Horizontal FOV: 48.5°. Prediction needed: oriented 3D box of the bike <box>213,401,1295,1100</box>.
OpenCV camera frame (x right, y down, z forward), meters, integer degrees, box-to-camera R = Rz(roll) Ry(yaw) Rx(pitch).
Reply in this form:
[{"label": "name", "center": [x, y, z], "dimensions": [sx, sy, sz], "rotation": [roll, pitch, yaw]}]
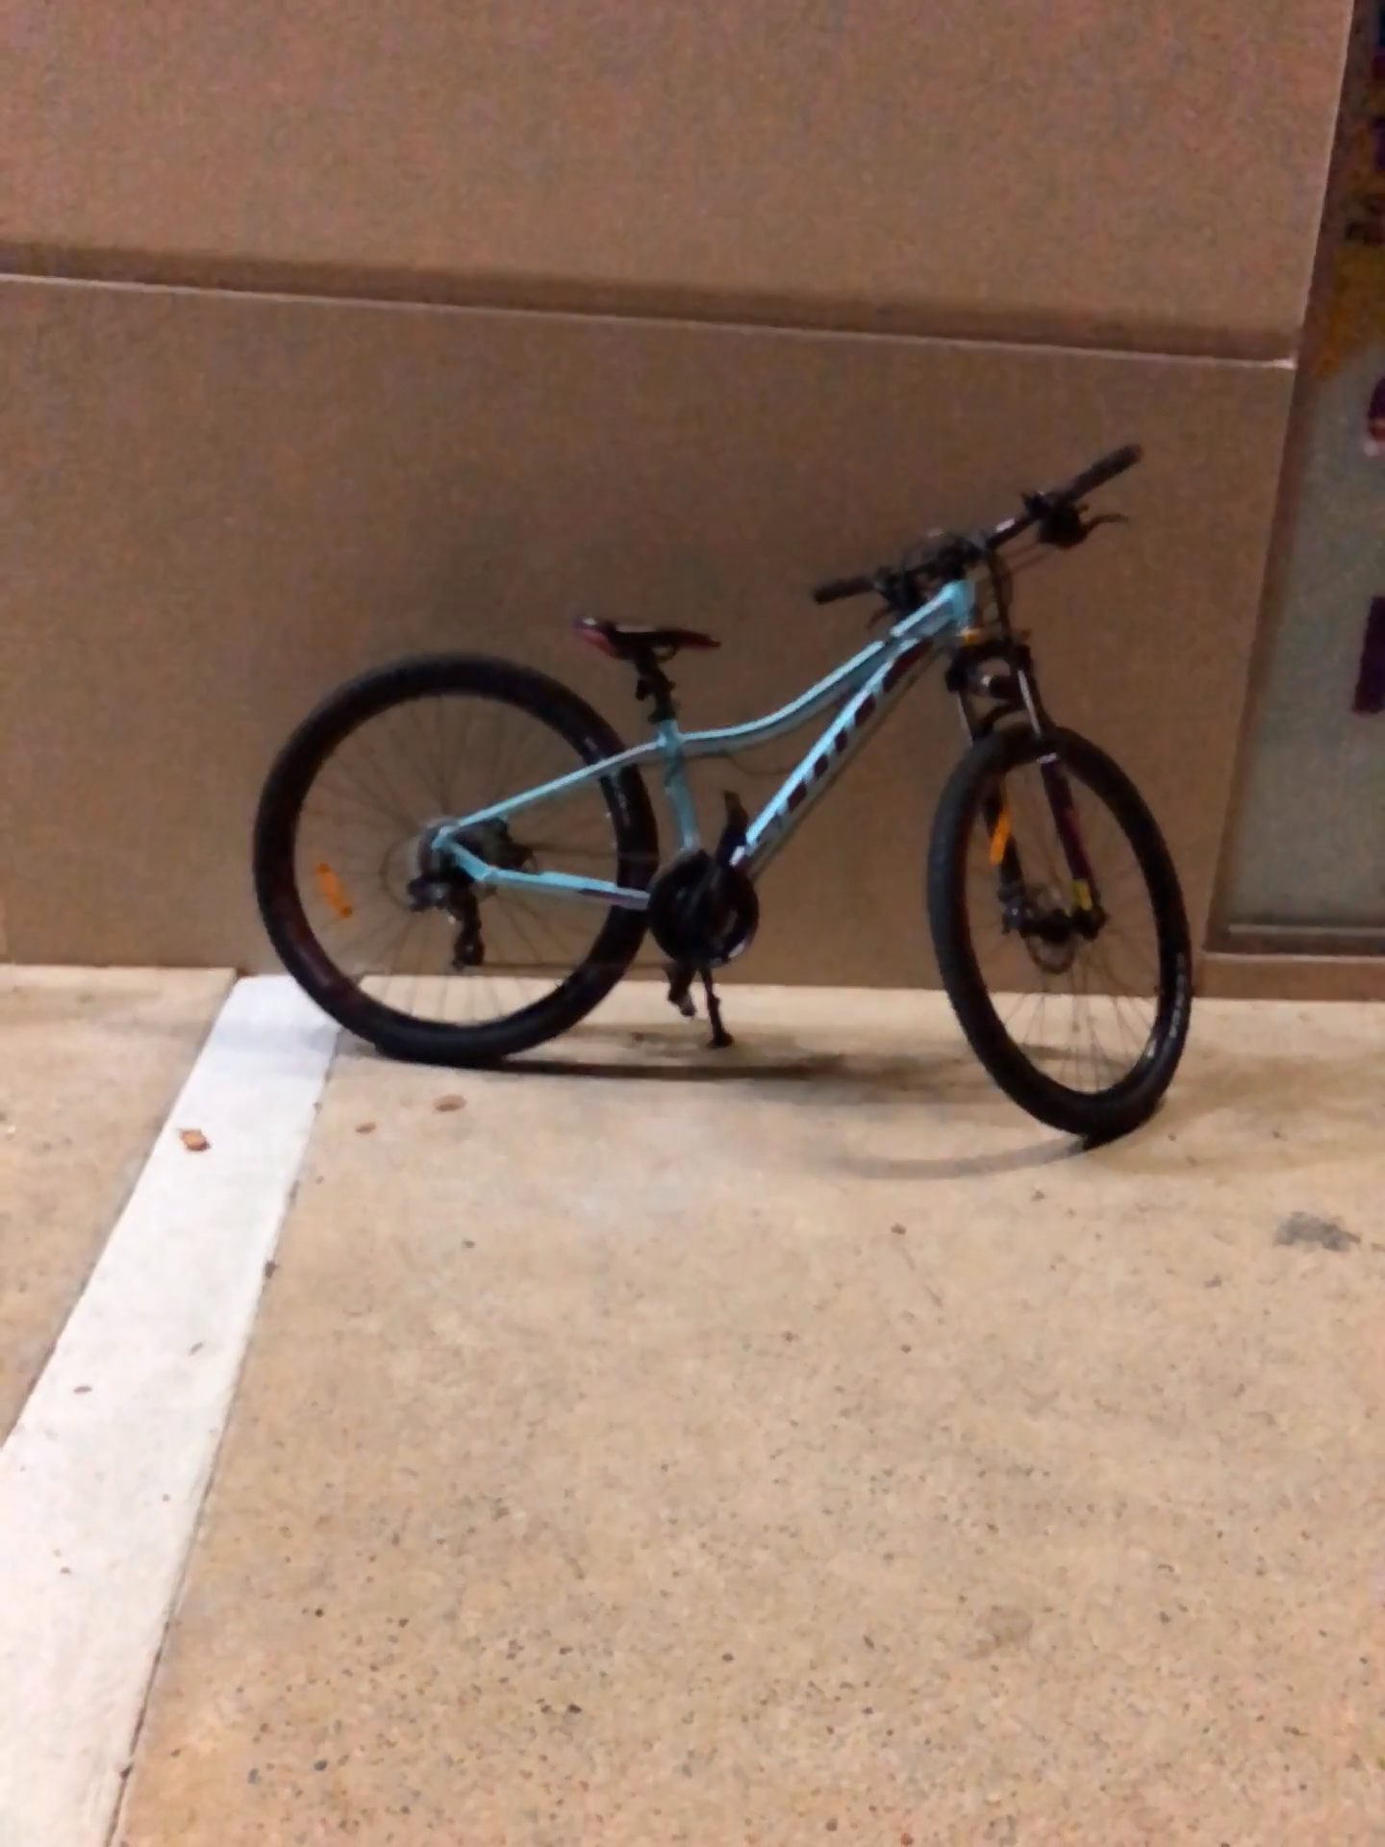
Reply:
[{"label": "bike", "center": [0.101, -0.315, 2.704], "dimensions": [1.603, 1.063, 0.589], "rotation": [2, 17, -3]}]
